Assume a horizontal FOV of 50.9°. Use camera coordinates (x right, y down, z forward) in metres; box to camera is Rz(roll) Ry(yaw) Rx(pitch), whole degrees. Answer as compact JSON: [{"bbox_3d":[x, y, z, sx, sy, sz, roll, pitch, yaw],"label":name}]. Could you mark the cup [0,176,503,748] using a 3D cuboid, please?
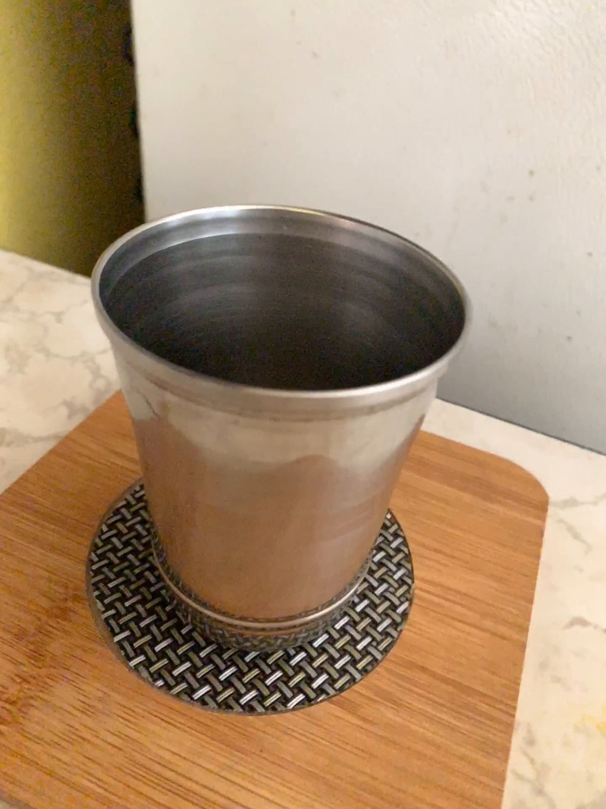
[{"bbox_3d":[-0.008,0.010,0.149,0.072,0.091,0.071,3,39,-3],"label":"cup"}]
